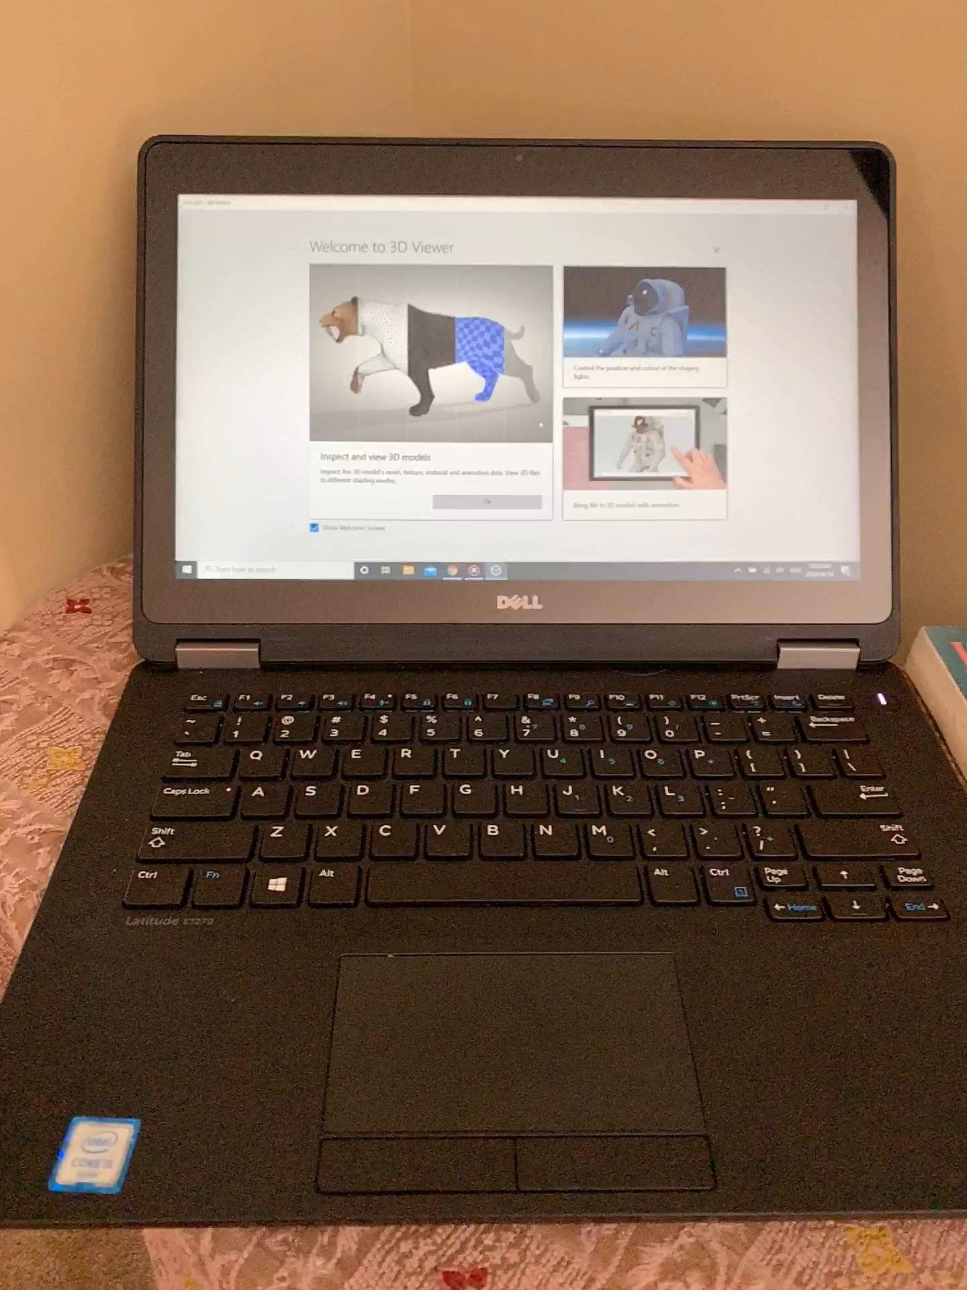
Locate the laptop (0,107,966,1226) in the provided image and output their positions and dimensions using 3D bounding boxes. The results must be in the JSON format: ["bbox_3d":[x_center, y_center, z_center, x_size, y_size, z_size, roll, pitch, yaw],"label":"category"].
[{"bbox_3d":[0.021,-0.051,0.394,0.365,0.186,0.424,-1,41,-1],"label":"laptop"}]
